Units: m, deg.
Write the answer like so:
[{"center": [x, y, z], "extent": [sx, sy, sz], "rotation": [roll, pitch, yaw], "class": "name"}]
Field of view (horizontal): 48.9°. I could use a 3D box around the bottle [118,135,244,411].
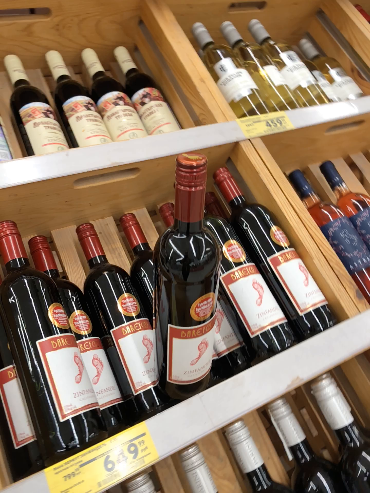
[{"center": [-0.007, 0.041, 0.436], "extent": [0.080, 0.288, 0.080], "rotation": [1, 35, 0], "class": "bottle"}]
